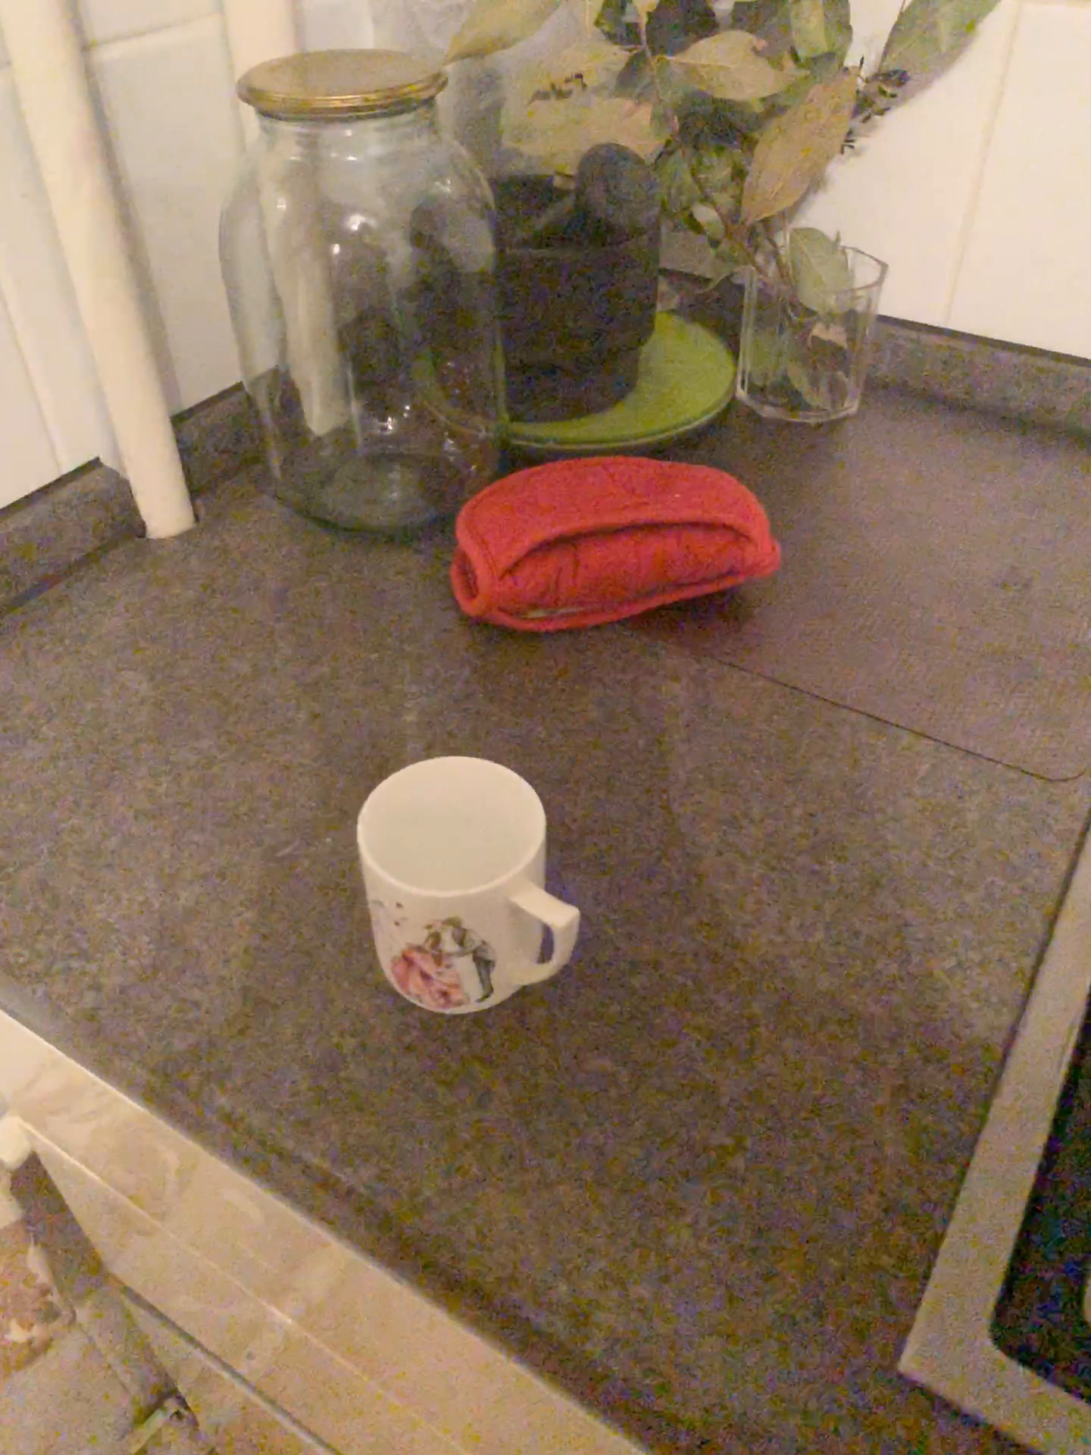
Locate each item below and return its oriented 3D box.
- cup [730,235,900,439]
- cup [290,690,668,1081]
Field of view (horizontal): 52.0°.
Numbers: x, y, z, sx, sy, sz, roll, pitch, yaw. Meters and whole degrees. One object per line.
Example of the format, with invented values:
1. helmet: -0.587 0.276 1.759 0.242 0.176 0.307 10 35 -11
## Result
1. cup: 0.155 -0.226 0.648 0.079 0.091 0.055 10 42 12
2. cup: -0.019 0.045 0.344 0.089 0.061 0.065 24 47 26
